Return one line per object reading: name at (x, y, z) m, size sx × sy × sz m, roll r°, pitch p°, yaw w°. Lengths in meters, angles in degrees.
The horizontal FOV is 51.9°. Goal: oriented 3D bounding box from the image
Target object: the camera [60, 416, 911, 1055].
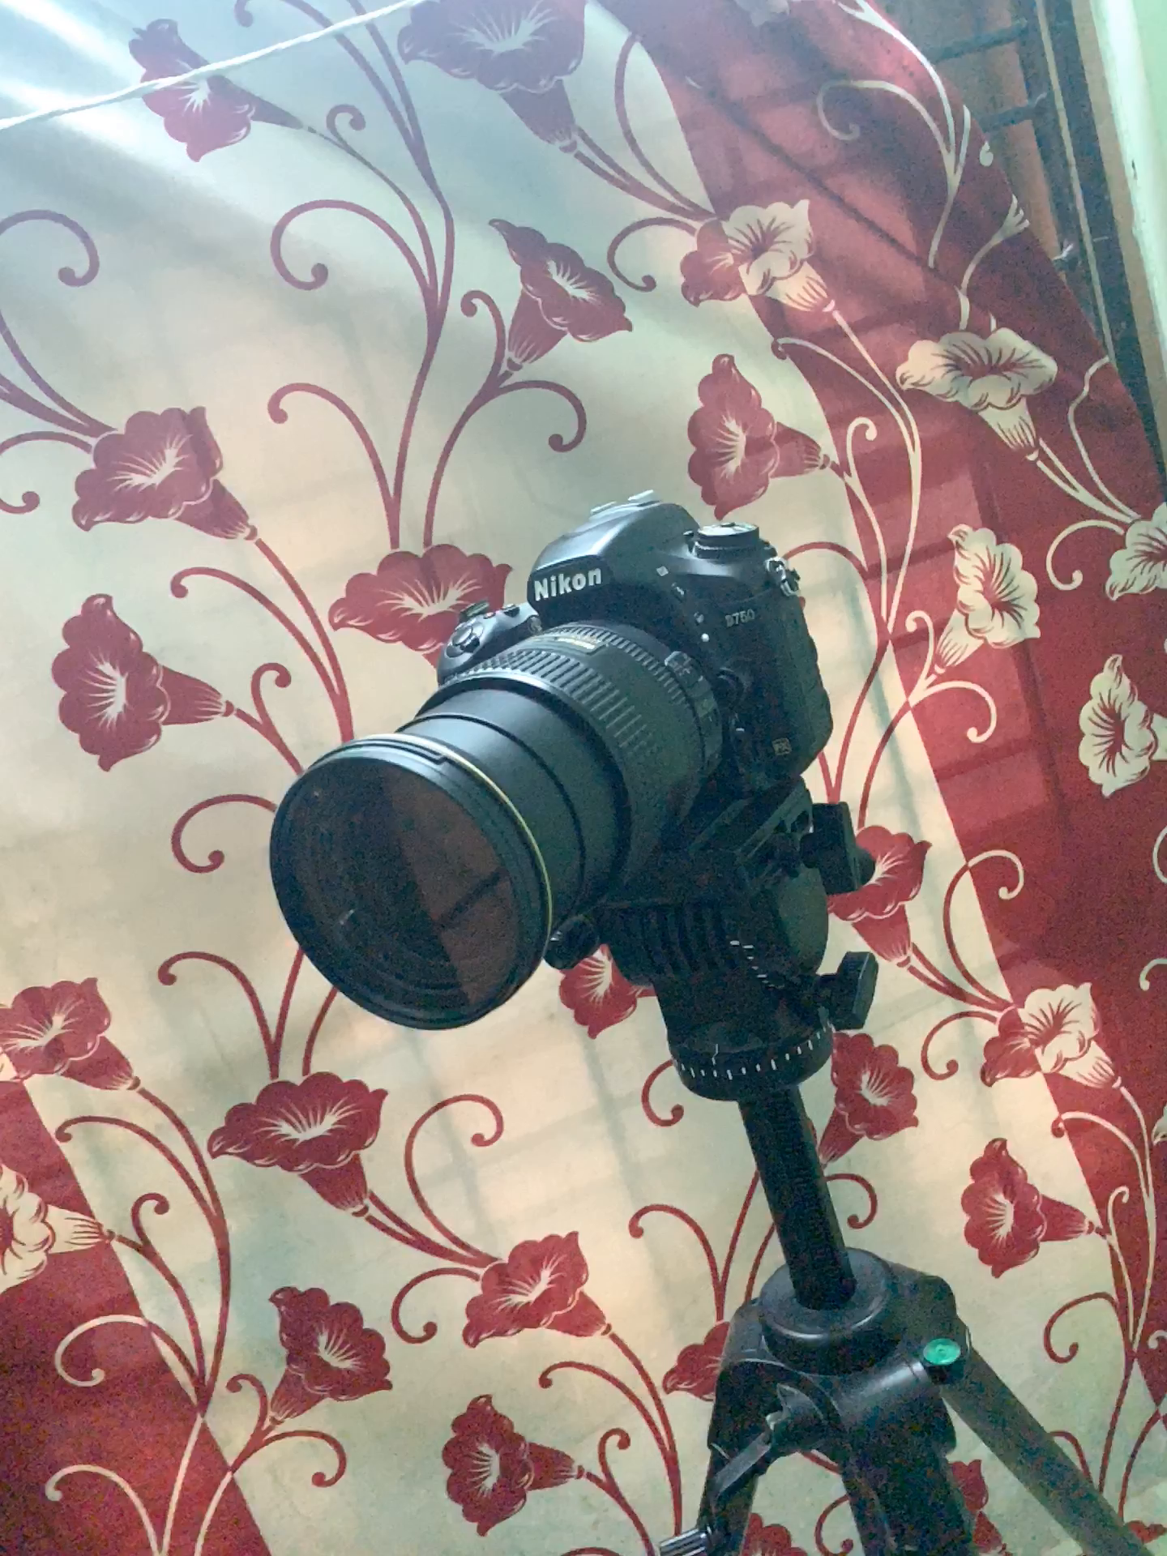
camera at (-0.014, -0.019, 0.367) m, size 0.172 × 0.122 × 0.170 m, roll -11°, pitch 13°, yaw 28°
